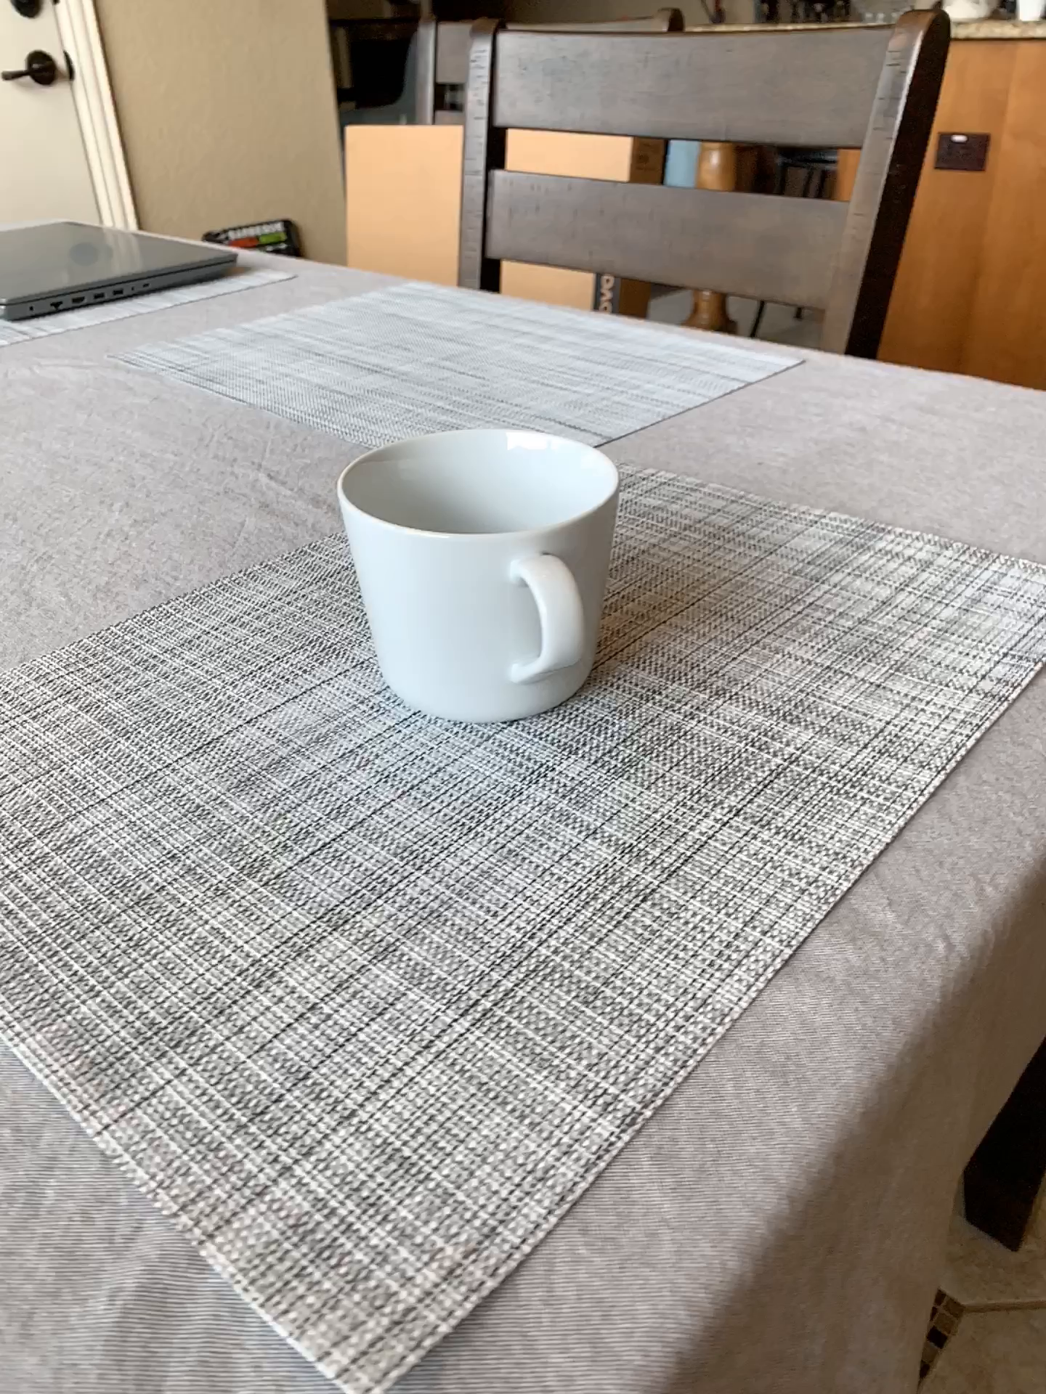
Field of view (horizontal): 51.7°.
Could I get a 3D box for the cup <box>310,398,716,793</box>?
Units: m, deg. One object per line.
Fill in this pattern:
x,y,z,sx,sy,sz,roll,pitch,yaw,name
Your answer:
-0.008,-0.045,0.392,0.100,0.081,0.122,-14,34,-19,cup
